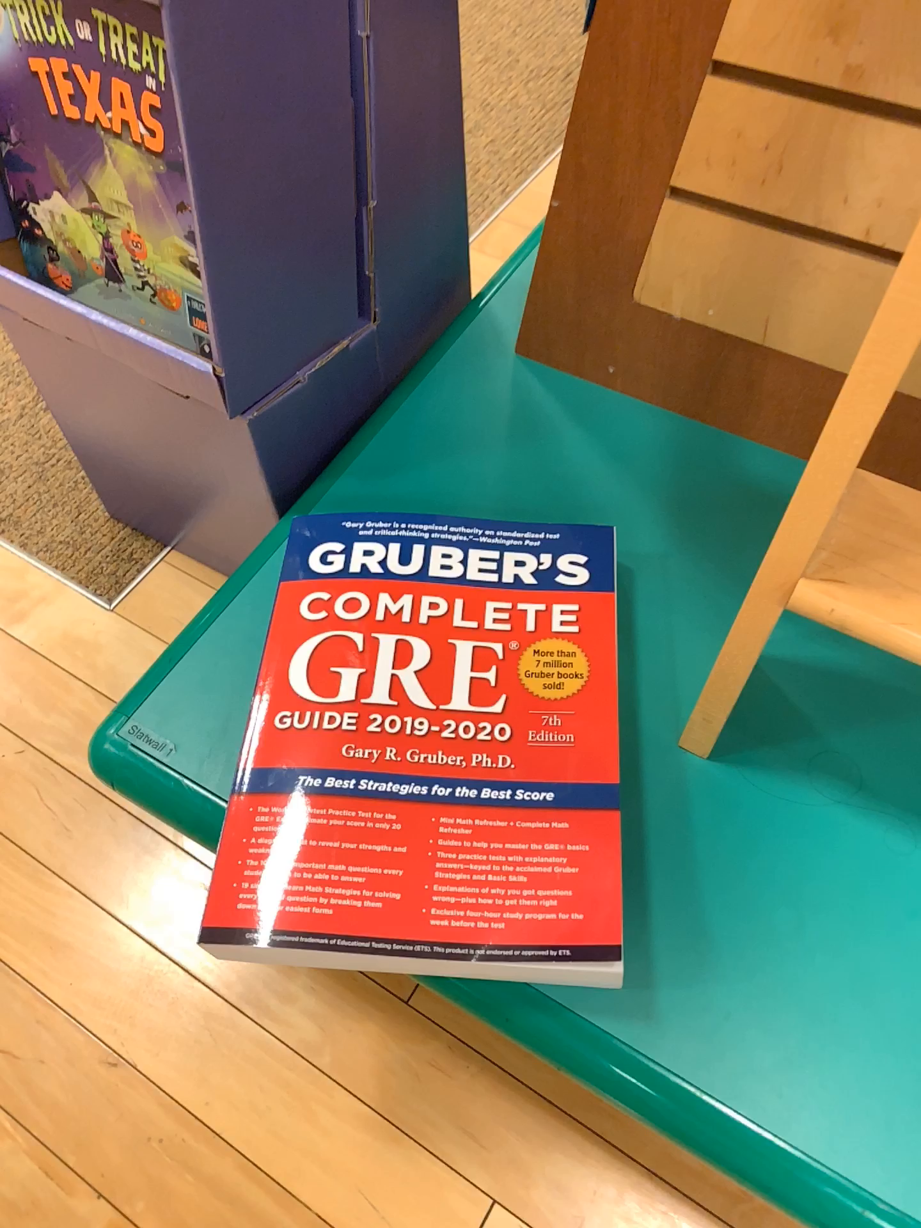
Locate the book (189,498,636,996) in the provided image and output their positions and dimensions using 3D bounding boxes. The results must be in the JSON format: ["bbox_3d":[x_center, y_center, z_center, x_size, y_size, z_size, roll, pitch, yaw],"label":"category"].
[{"bbox_3d":[-0.013,0.060,0.556,0.220,0.040,0.291,2,57,5],"label":"book"}]
